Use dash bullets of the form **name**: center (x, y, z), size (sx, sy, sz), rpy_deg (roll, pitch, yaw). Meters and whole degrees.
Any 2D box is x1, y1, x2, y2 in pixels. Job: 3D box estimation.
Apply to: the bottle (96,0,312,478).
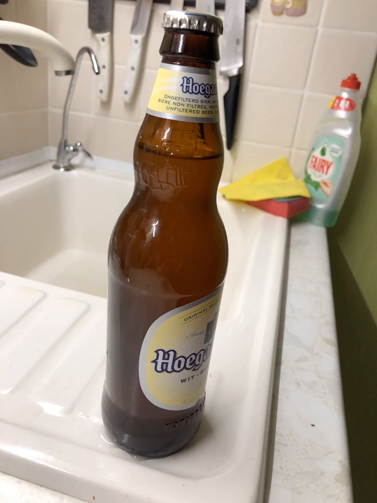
- **bottle**: center (0.000, 0.002, 0.228), size (0.060, 0.231, 0.070), rpy_deg (20, 26, 26)
